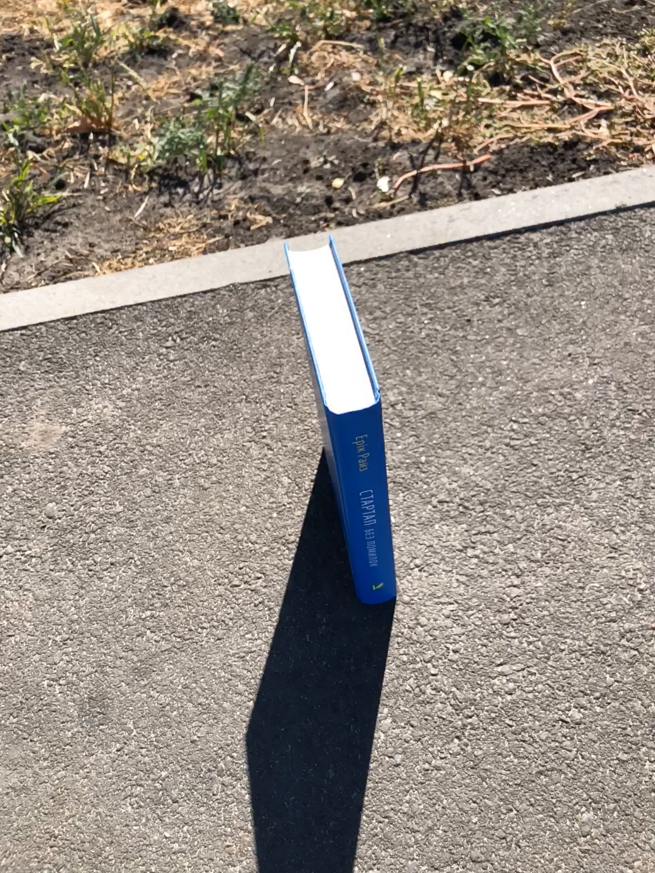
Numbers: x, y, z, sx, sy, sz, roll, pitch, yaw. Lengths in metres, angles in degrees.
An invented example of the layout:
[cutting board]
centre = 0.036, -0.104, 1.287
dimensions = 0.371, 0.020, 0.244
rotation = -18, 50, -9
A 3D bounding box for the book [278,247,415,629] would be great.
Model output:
[book]
centre = 0.015, 0.009, 0.475
dimensions = 0.038, 0.205, 0.155
rotation = -13, 51, 0
